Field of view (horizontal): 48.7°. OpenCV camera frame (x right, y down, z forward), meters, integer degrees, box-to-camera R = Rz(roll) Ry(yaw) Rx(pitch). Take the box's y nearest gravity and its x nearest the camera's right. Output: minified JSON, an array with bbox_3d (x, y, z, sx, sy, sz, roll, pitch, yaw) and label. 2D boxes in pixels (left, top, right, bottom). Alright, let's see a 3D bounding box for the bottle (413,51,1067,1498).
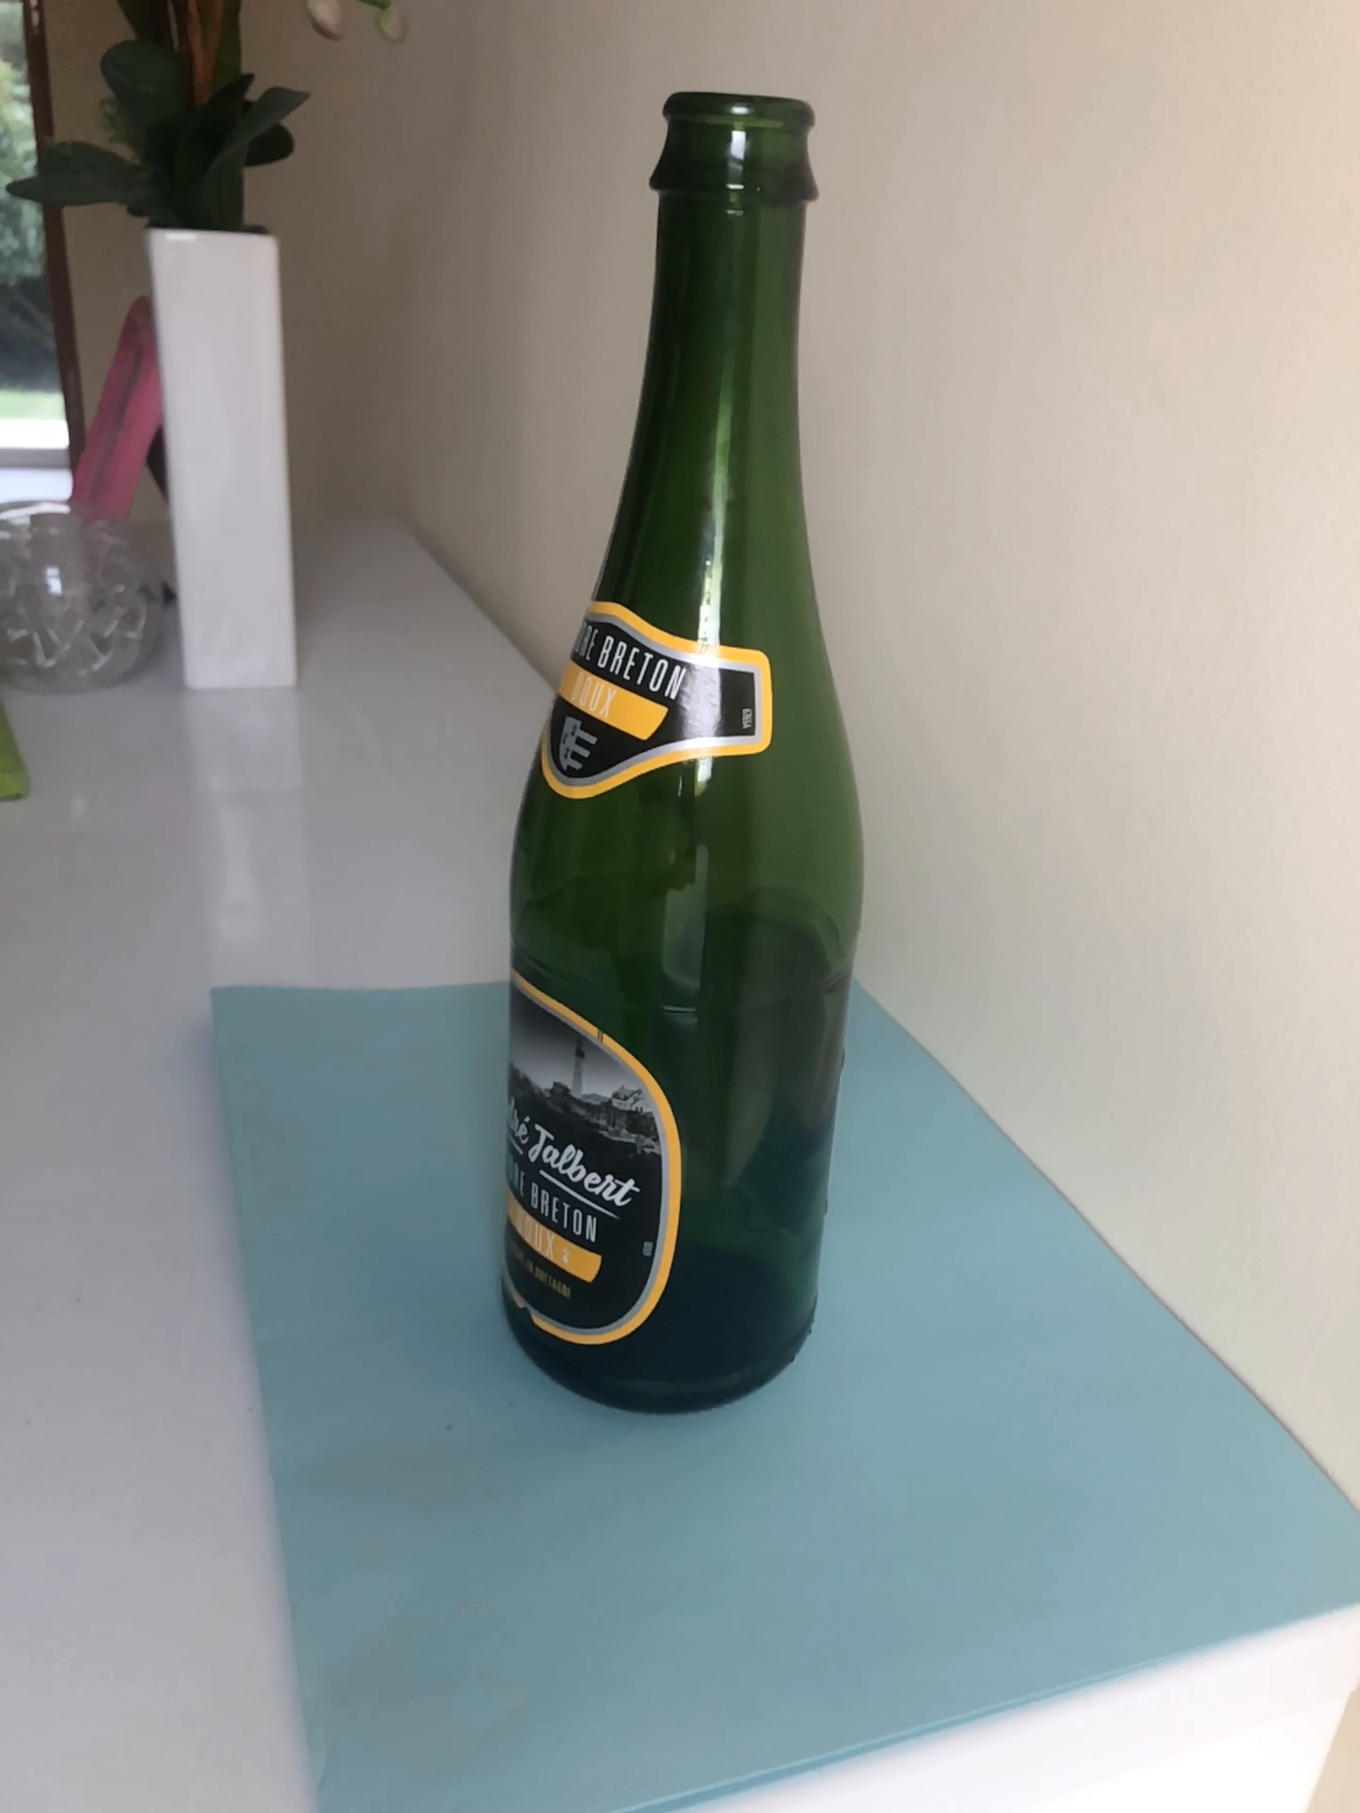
[{"bbox_3d":[0.000,-0.021,0.328,0.080,0.278,0.090,-14,30,-33],"label":"bottle"}]
